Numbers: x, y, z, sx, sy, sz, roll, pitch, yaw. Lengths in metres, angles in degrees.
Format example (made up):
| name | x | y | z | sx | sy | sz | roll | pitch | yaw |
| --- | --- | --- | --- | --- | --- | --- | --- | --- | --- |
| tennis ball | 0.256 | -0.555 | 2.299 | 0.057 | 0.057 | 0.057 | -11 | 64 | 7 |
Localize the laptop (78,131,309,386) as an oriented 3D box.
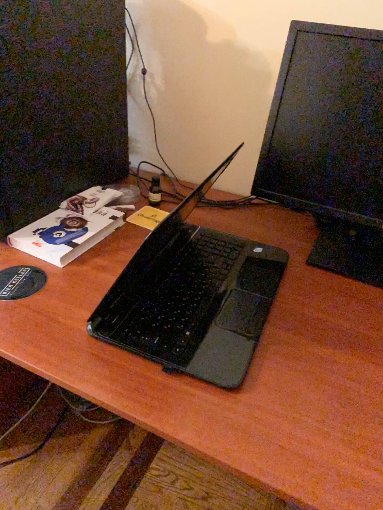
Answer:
| name | x | y | z | sx | sy | sz | roll | pitch | yaw |
| --- | --- | --- | --- | --- | --- | --- | --- | --- | --- |
| laptop | 0.026 | -0.031 | 0.621 | 0.222 | 0.198 | 0.350 | 17 | 37 | 16 |
